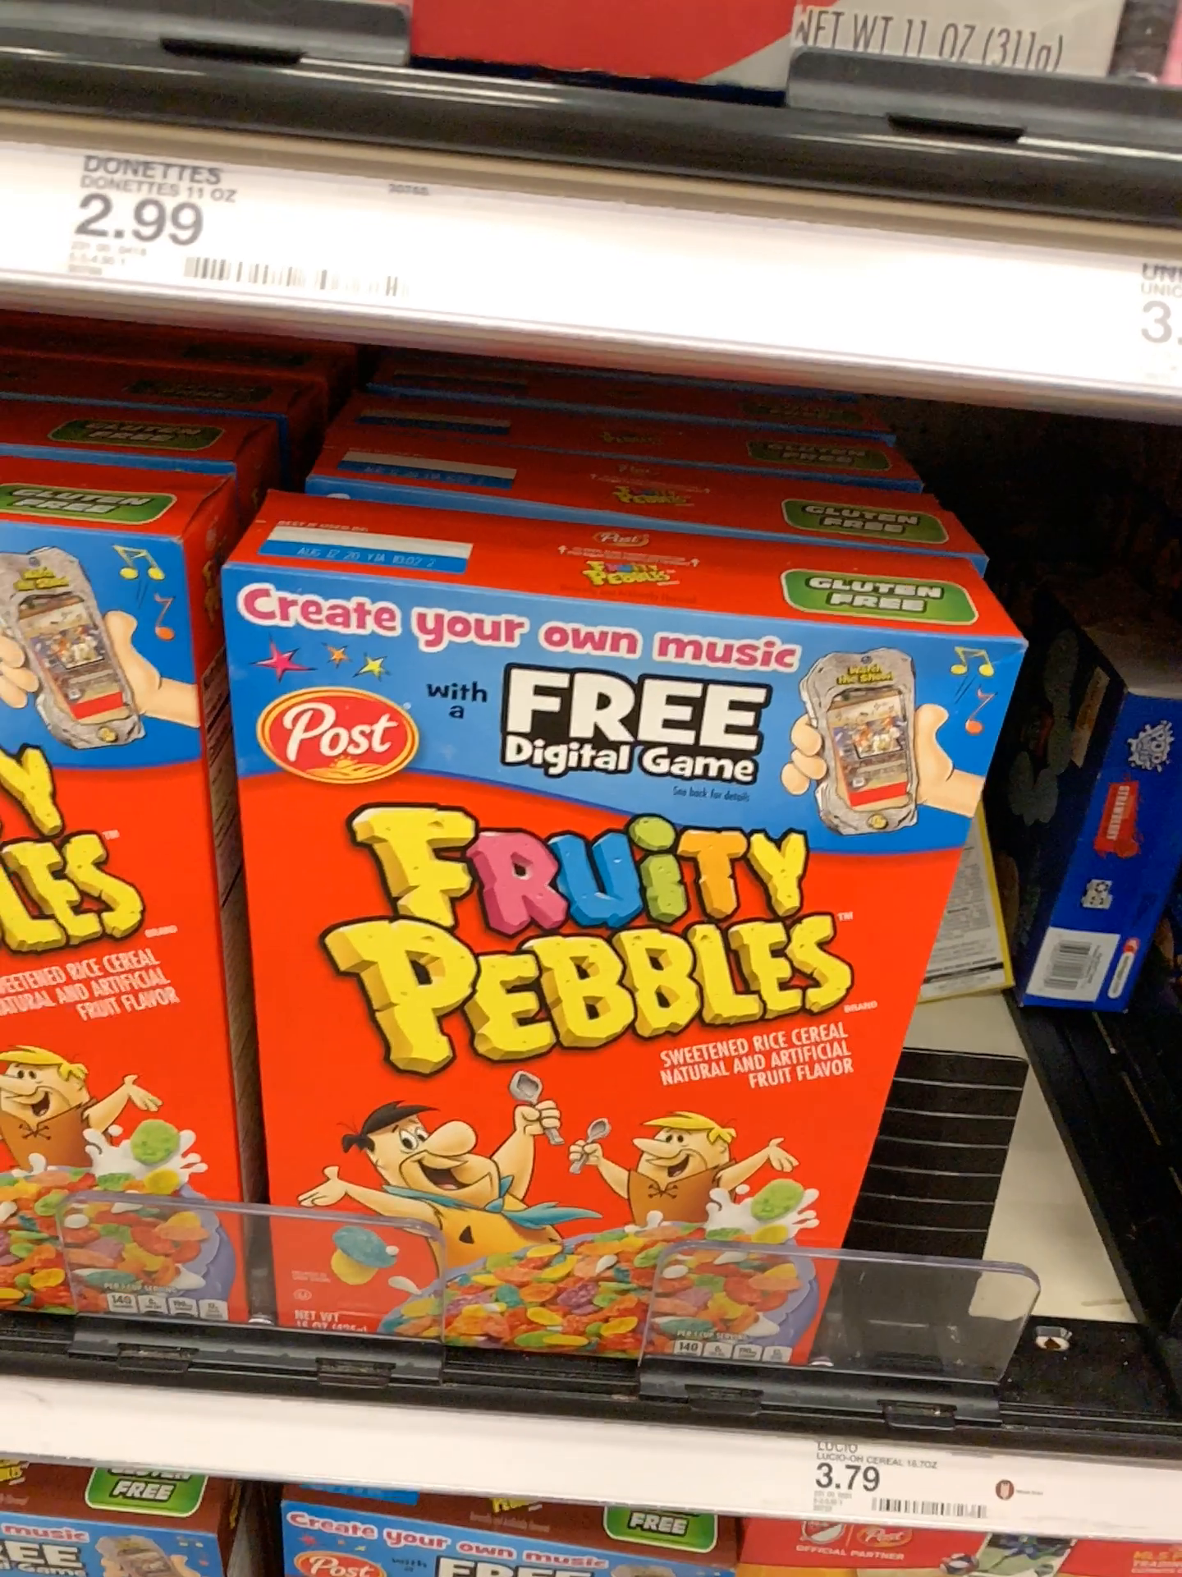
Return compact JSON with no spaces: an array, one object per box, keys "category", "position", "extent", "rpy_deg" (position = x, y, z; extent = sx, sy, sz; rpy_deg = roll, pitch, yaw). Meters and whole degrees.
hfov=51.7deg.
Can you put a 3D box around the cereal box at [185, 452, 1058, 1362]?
[{"category":"cereal box","position":[-0.003,0.057,0.380],"extent":[0.200,0.289,0.060],"rpy_deg":[5,32,-1]}]
